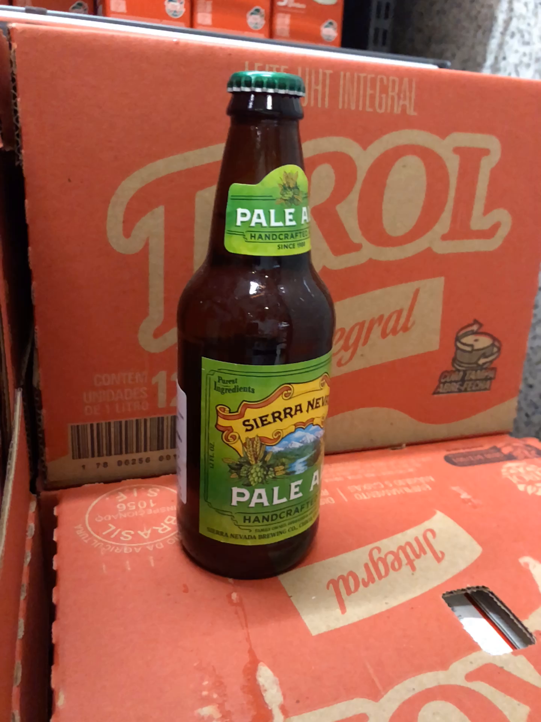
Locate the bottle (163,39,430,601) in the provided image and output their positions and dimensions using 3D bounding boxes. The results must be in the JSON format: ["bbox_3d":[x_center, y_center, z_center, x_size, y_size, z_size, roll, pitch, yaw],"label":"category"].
[{"bbox_3d":[0.003,-0.014,0.241,0.070,0.189,0.060,-8,21,-33],"label":"bottle"}]
